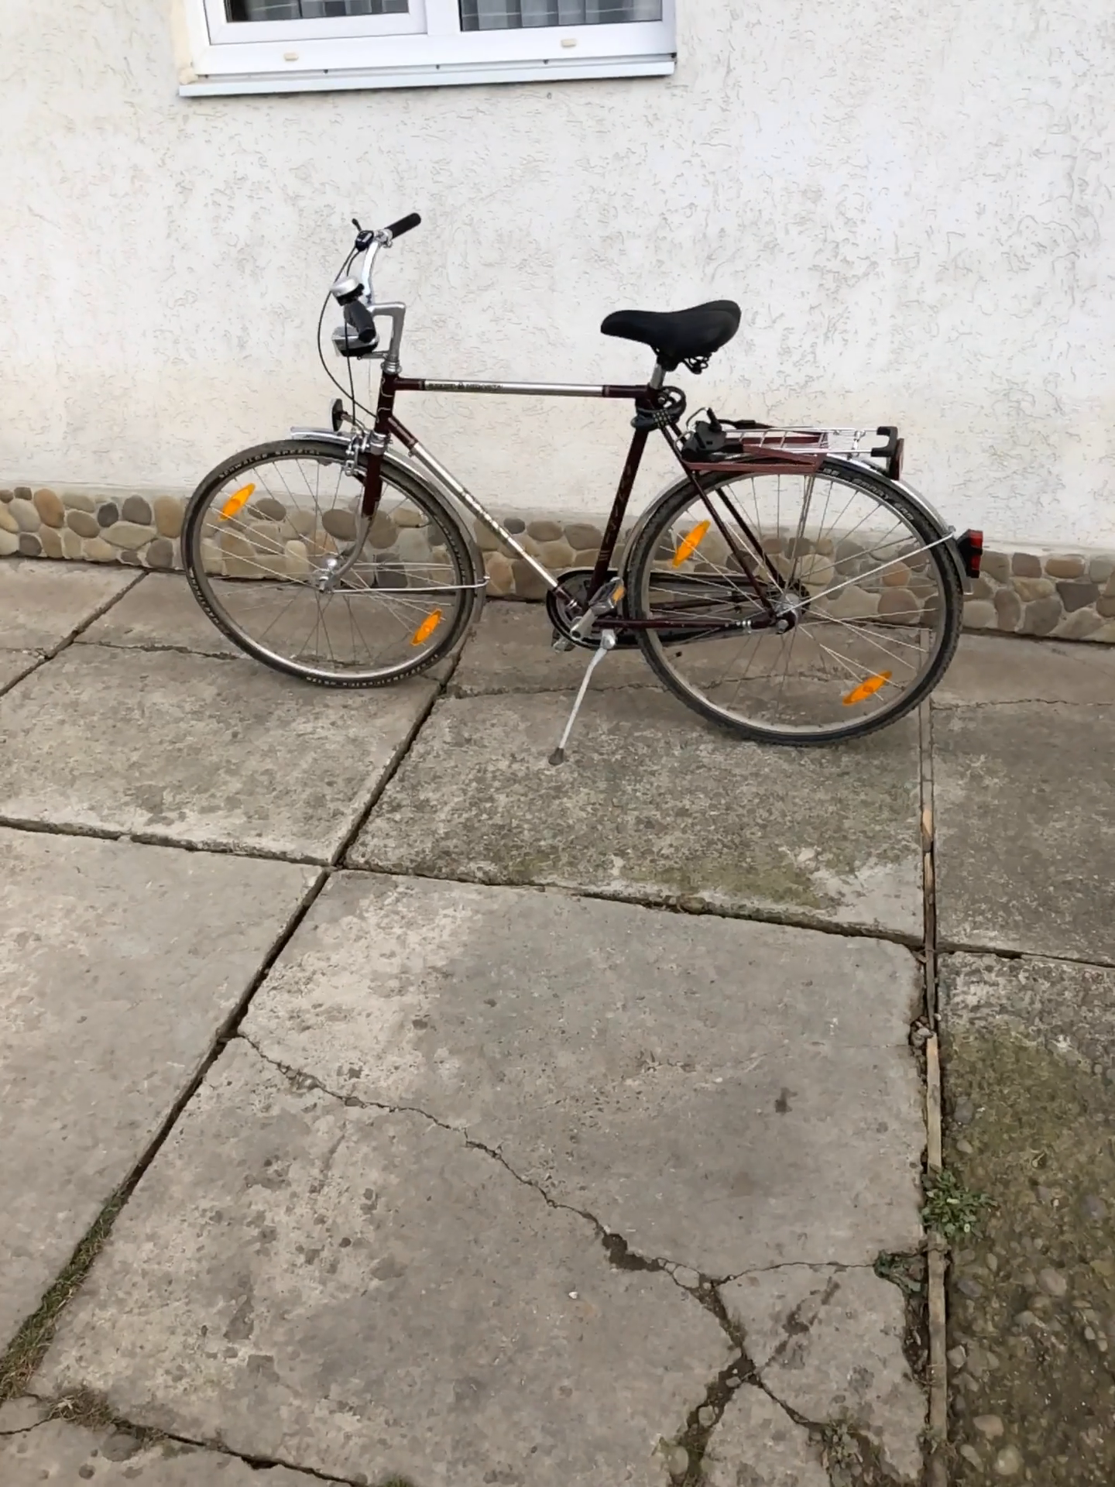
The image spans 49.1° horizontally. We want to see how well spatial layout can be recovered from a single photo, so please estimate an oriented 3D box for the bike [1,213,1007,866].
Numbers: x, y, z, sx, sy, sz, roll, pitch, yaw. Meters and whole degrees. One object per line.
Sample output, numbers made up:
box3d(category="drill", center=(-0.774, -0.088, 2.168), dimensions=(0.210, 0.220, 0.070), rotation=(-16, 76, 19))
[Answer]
box3d(category="bike", center=(-0.059, -0.457, 2.490), dimensions=(1.709, 1.054, 0.601), rotation=(6, 31, 15))
